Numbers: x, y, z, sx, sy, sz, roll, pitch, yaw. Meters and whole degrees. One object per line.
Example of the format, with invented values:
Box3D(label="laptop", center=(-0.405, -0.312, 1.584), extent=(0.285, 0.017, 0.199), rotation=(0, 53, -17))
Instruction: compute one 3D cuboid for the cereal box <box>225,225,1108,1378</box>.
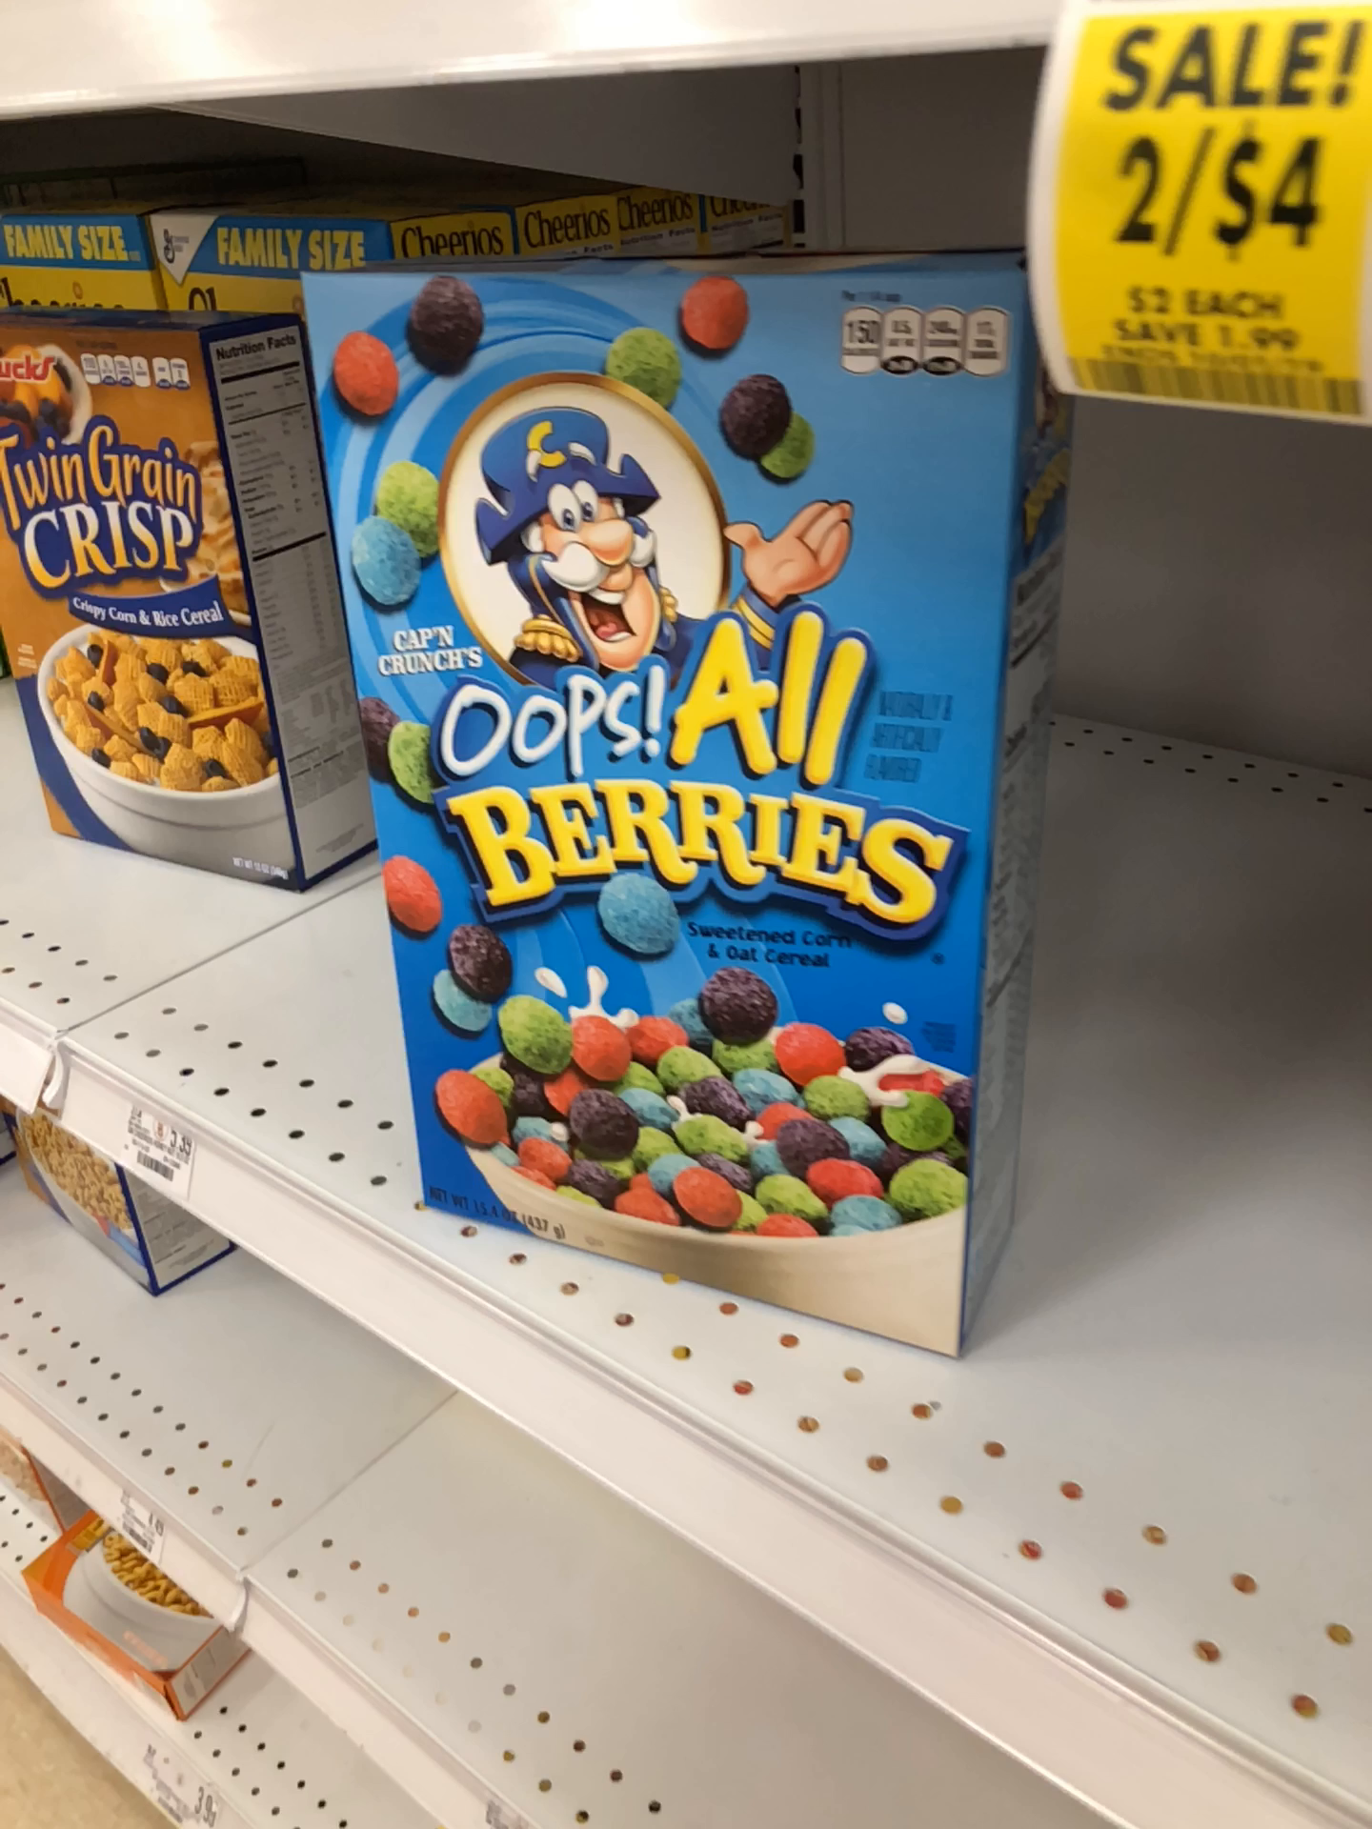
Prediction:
Box3D(label="cereal box", center=(0.001, -0.032, 0.472), extent=(0.220, 0.319, 0.080), rotation=(9, 30, 24))
